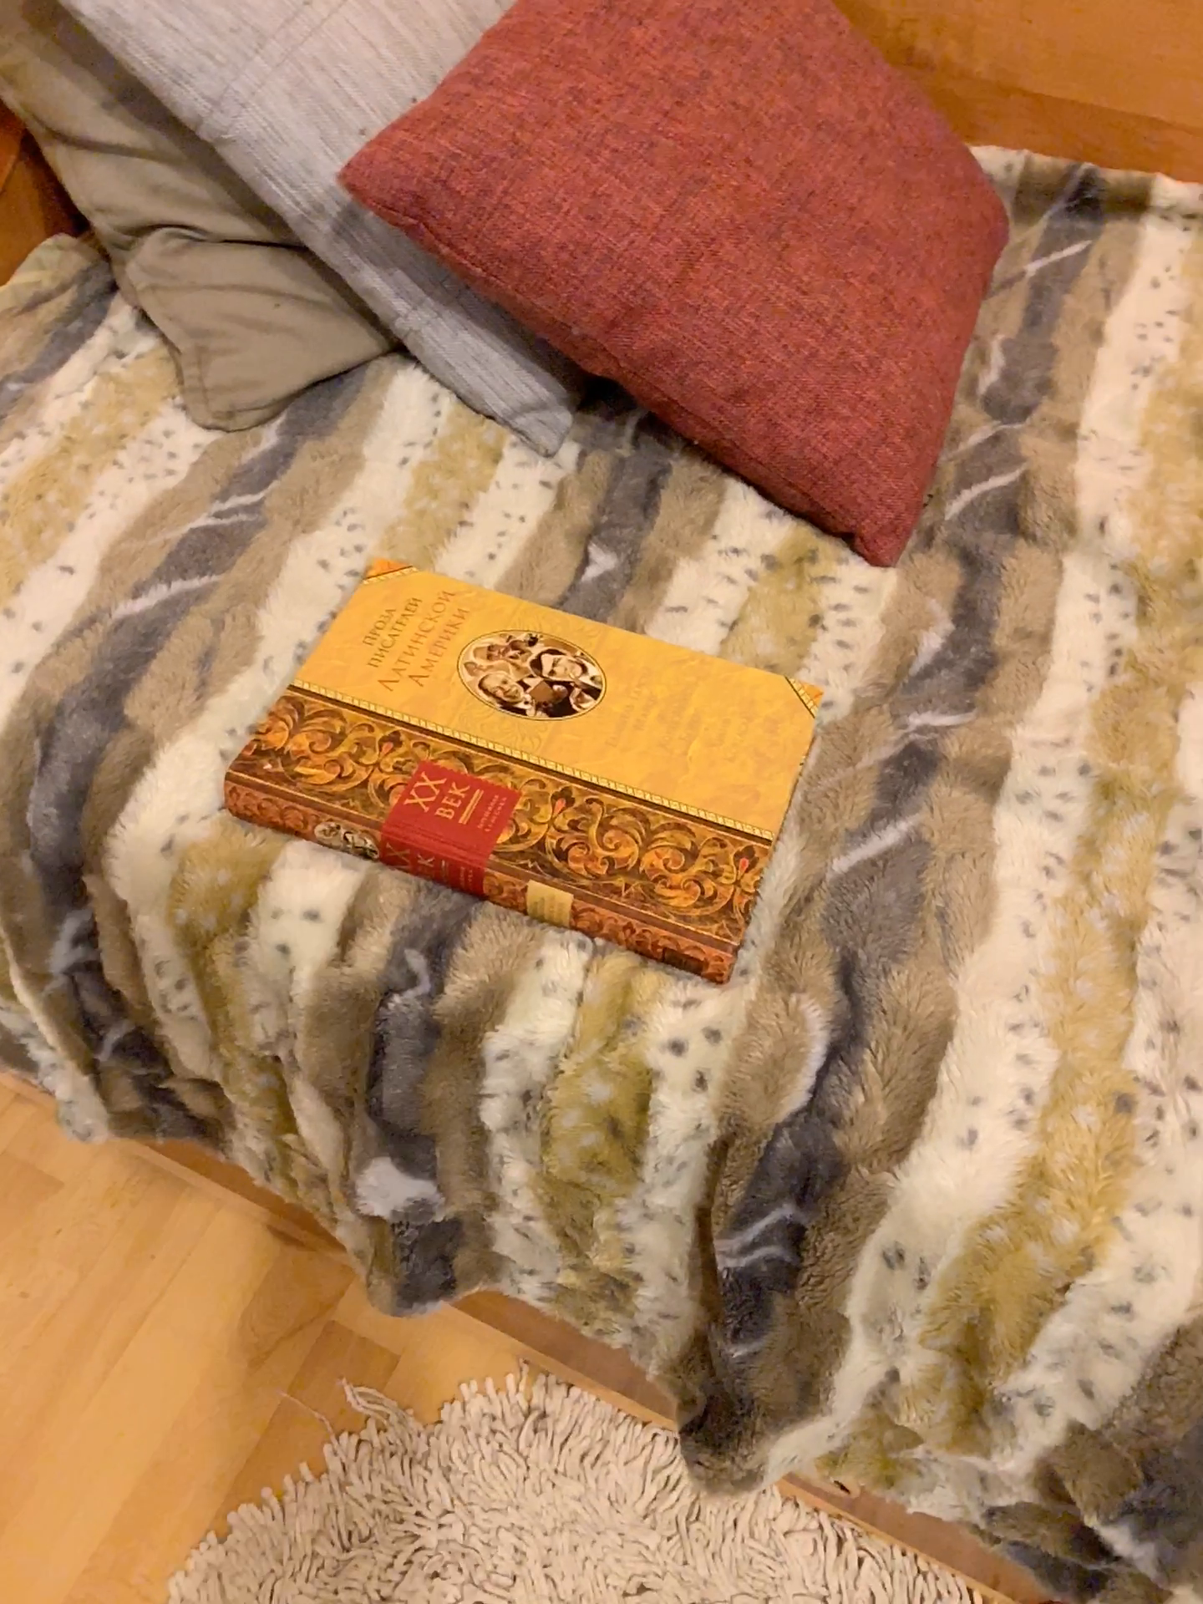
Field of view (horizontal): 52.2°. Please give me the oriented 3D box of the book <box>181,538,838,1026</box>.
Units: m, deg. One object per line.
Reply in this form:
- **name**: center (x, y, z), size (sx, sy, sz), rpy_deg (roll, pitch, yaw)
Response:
- **book**: center (-0.039, -0.021, 0.622), size (0.270, 0.060, 0.181), rpy_deg (17, 54, 12)
